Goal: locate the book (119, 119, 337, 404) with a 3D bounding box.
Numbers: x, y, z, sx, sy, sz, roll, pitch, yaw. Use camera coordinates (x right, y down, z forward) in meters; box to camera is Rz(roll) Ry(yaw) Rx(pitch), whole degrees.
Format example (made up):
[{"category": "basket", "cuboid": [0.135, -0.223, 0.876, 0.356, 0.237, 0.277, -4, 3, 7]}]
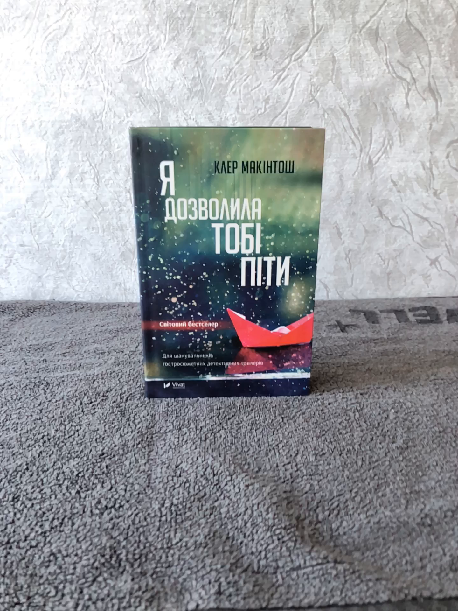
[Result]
[{"category": "book", "cuboid": [-0.001, -0.031, 0.375, 0.139, 0.201, 0.044, -2, 20, -6]}]
